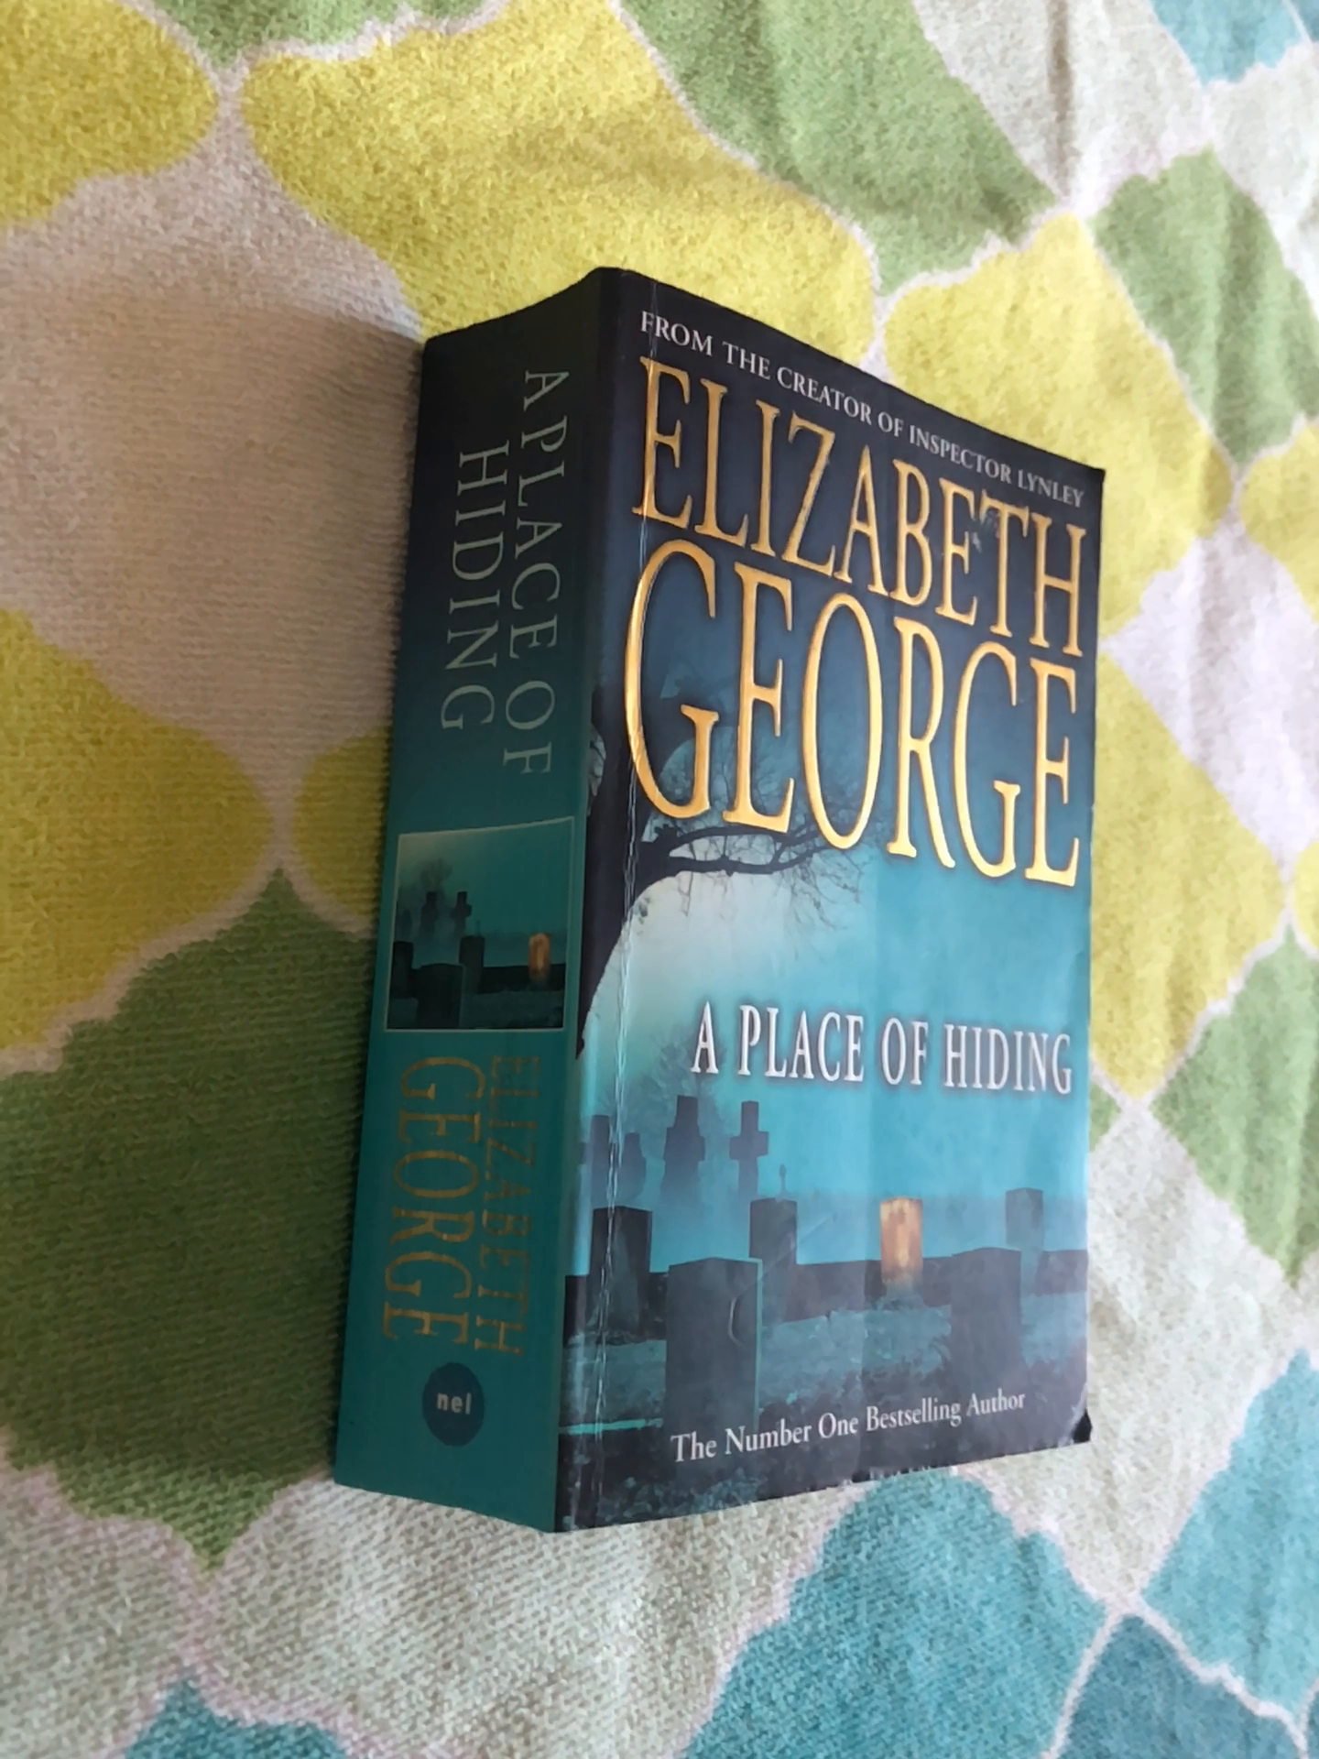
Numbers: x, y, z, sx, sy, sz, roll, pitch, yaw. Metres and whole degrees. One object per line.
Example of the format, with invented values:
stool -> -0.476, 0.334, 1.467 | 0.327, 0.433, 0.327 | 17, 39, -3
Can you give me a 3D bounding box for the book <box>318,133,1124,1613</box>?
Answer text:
book -> 0.020, 0.002, 0.277 | 0.131, 0.070, 0.210 | 9, 82, -44
